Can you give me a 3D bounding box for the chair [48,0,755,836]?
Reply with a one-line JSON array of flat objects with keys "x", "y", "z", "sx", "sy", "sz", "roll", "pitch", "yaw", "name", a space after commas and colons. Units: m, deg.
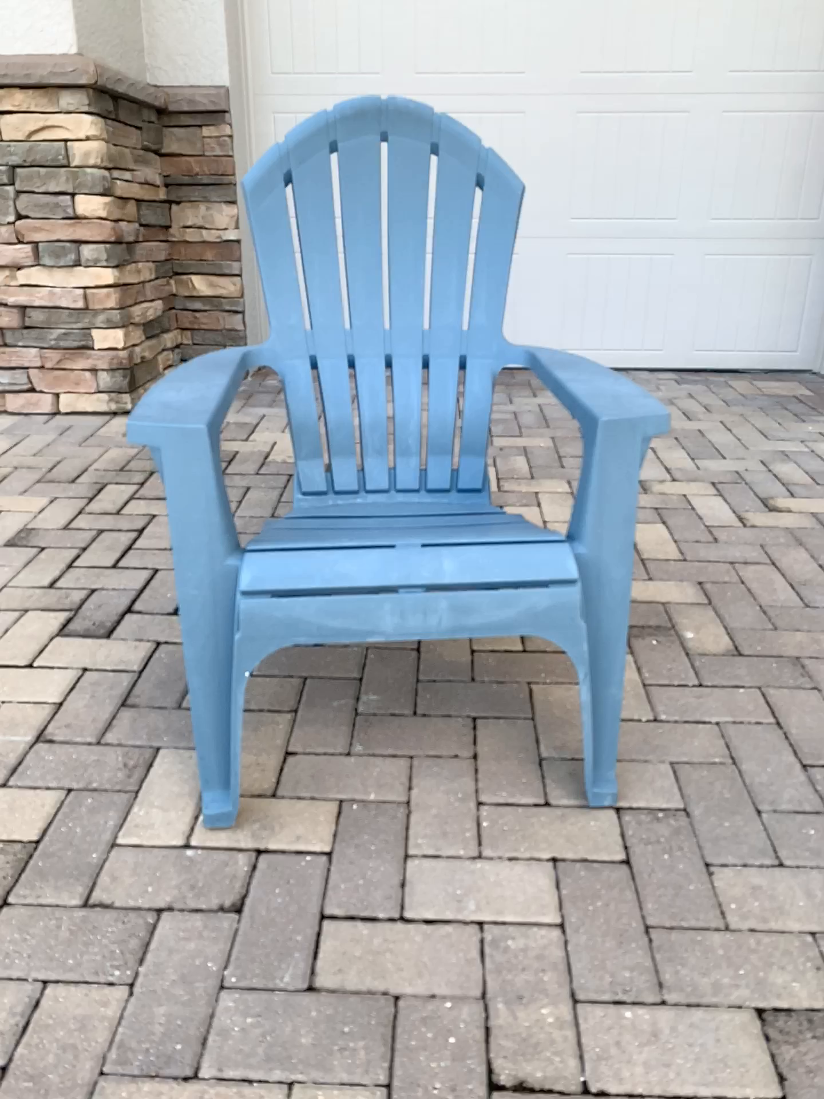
[{"x": -0.035, "y": -0.235, "z": 1.340, "sx": 0.681, "sy": 0.987, "sz": 0.800, "roll": -1, "pitch": 21, "yaw": -5, "name": "chair"}]
